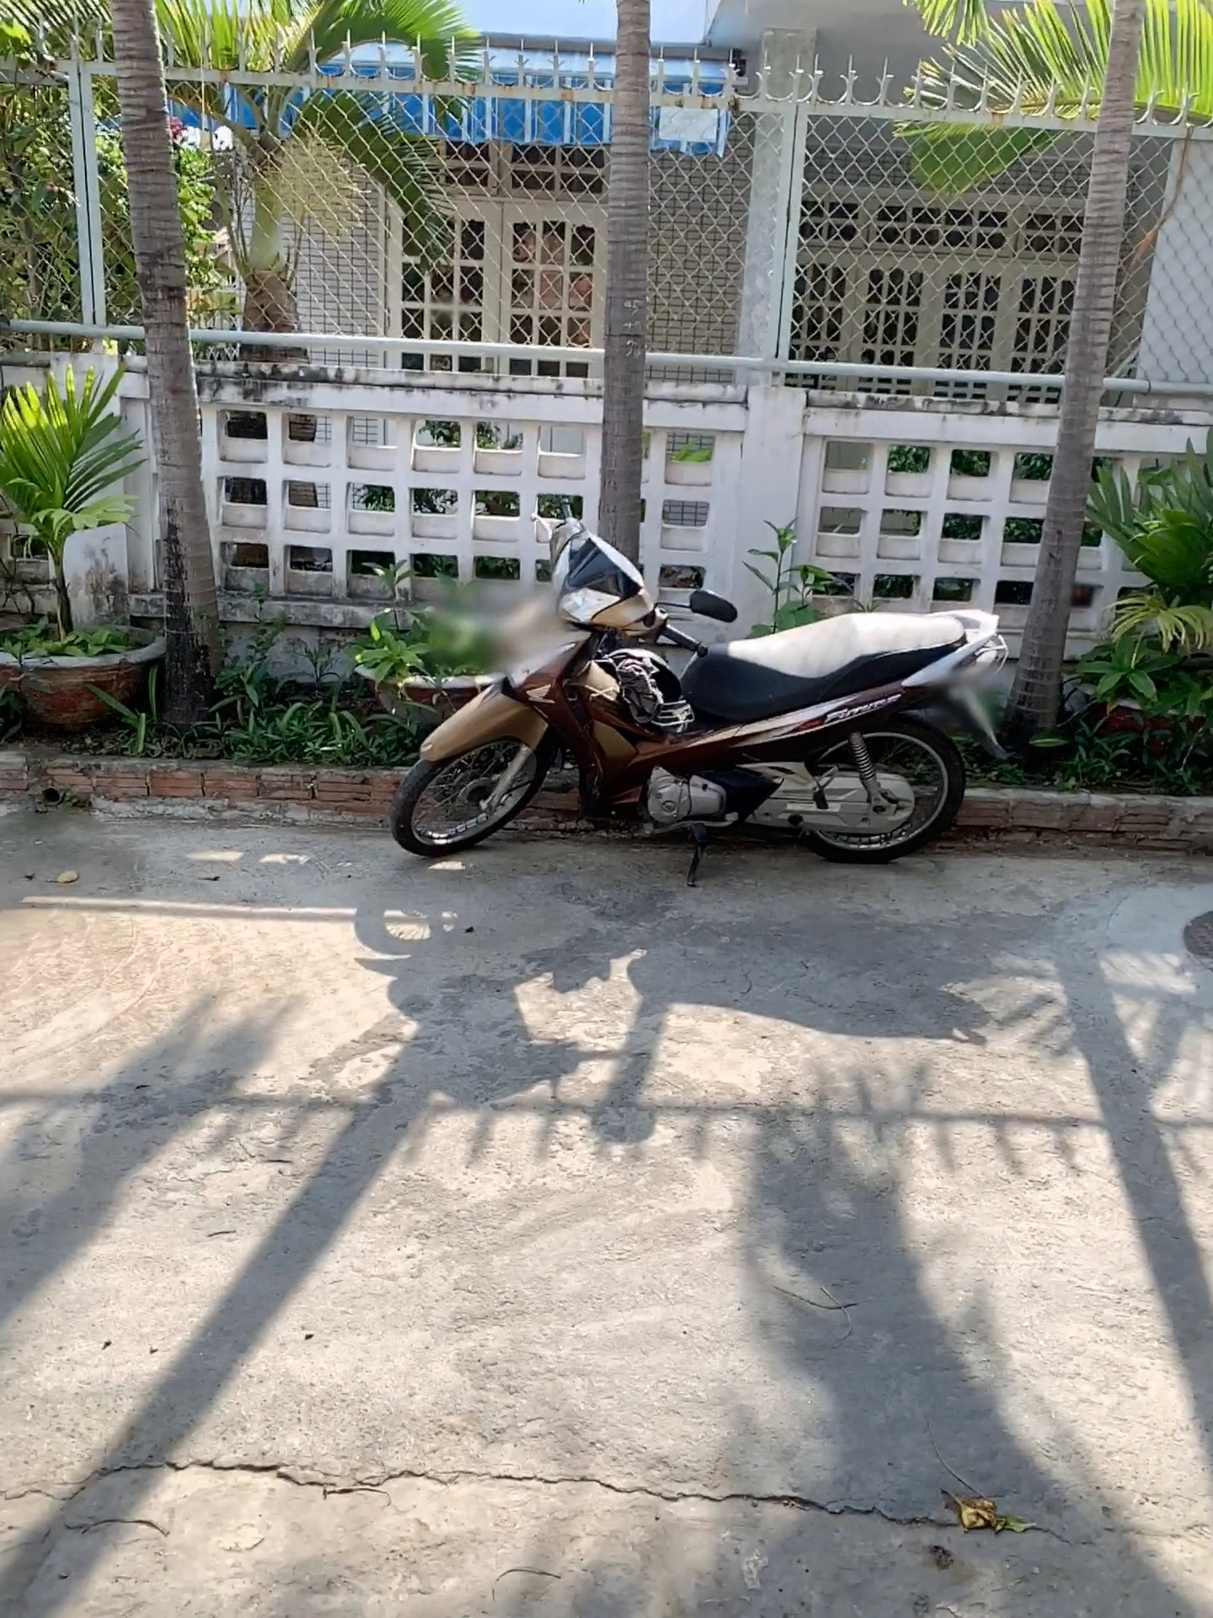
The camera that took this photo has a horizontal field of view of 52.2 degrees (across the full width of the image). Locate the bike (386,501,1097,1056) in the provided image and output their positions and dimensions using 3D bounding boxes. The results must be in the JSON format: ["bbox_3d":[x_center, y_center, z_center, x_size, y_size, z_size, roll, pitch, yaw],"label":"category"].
[{"bbox_3d":[0.356,-0.144,3.743,1.974,1.442,0.614,-2,18,-14],"label":"bike"}]
